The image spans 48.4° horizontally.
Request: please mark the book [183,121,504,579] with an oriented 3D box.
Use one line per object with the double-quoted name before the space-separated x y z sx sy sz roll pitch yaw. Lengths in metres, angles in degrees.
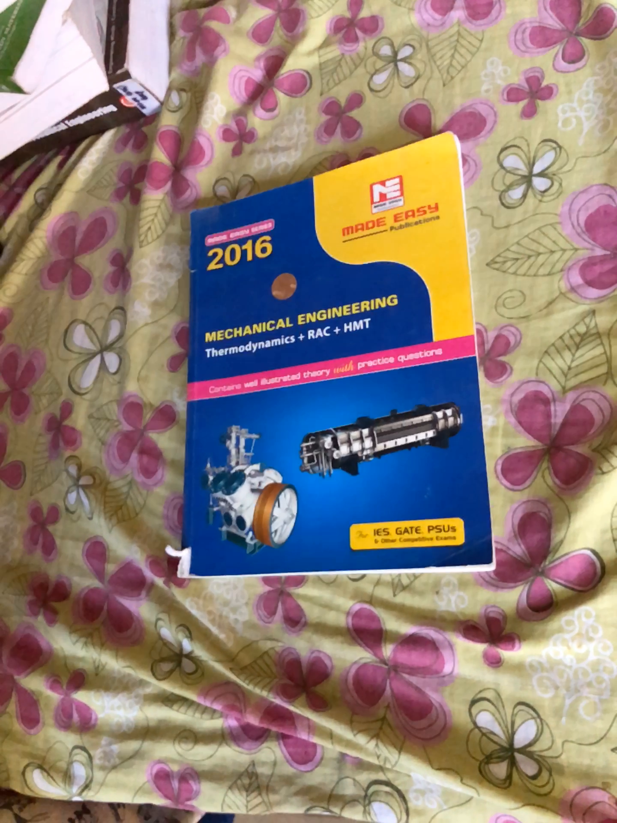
"book" 0.010 -0.032 0.450 0.201 0.030 0.269 -9 73 27
